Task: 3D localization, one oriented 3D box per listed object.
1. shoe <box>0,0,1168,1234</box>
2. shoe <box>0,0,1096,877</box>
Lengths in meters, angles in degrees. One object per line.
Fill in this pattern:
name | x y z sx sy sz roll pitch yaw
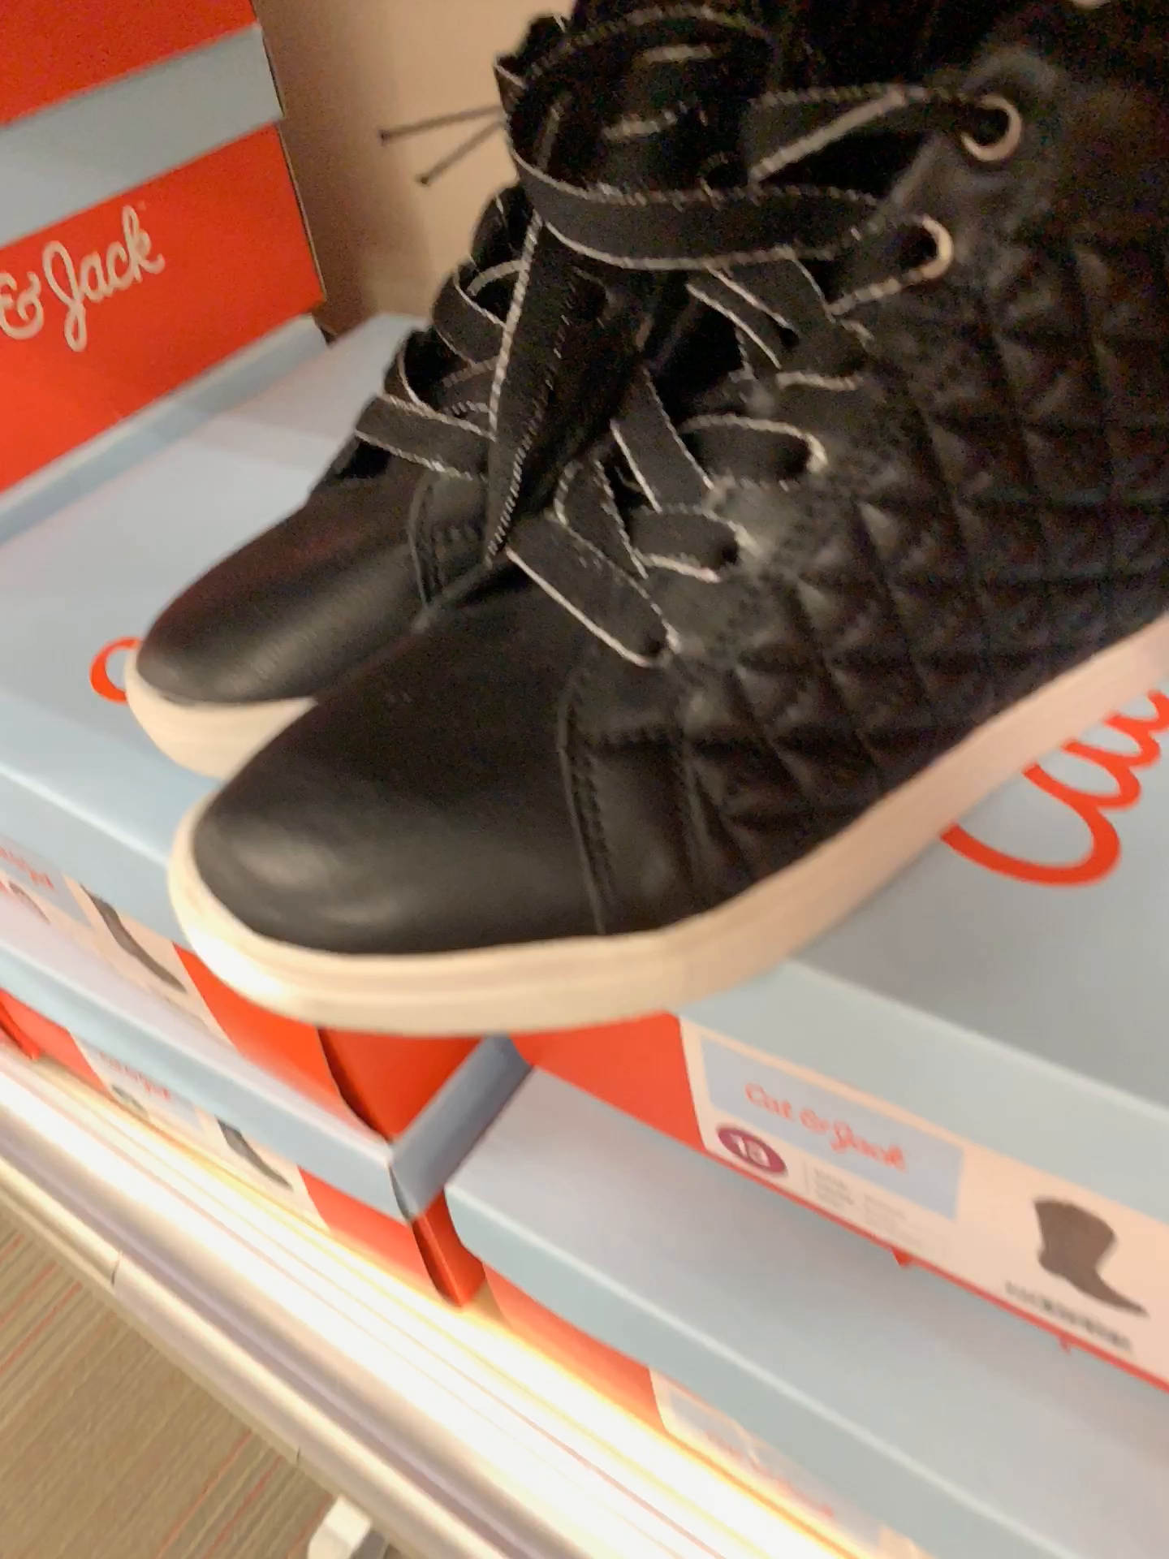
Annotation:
shoe | 0.024 -0.052 0.210 0.230 0.109 0.100 -30 45 -17
shoe | -0.011 -0.103 0.280 0.230 0.119 0.100 -30 45 -17
